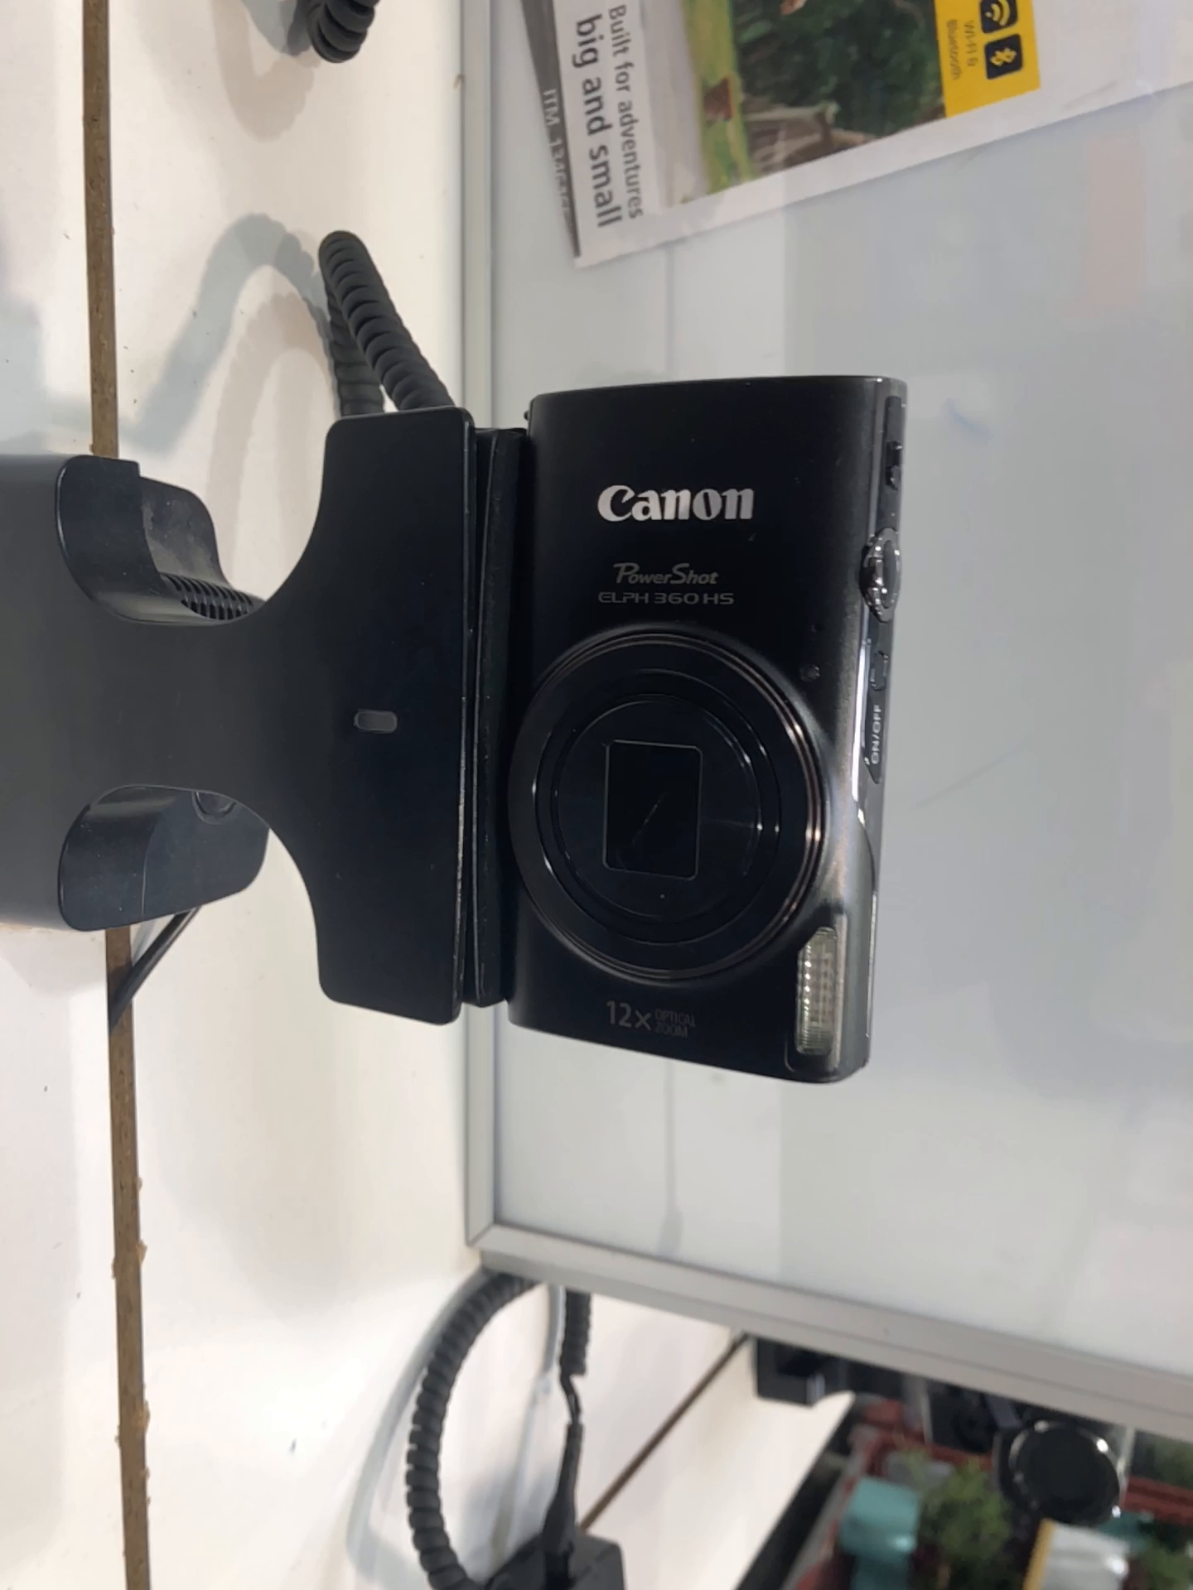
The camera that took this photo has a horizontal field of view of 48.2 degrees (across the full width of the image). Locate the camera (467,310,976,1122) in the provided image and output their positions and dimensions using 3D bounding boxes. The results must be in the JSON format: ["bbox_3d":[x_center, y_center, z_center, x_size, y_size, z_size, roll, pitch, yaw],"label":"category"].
[{"bbox_3d":[0.019,-0.012,0.210,0.030,0.070,0.110,-3,96,-63],"label":"camera"}]
